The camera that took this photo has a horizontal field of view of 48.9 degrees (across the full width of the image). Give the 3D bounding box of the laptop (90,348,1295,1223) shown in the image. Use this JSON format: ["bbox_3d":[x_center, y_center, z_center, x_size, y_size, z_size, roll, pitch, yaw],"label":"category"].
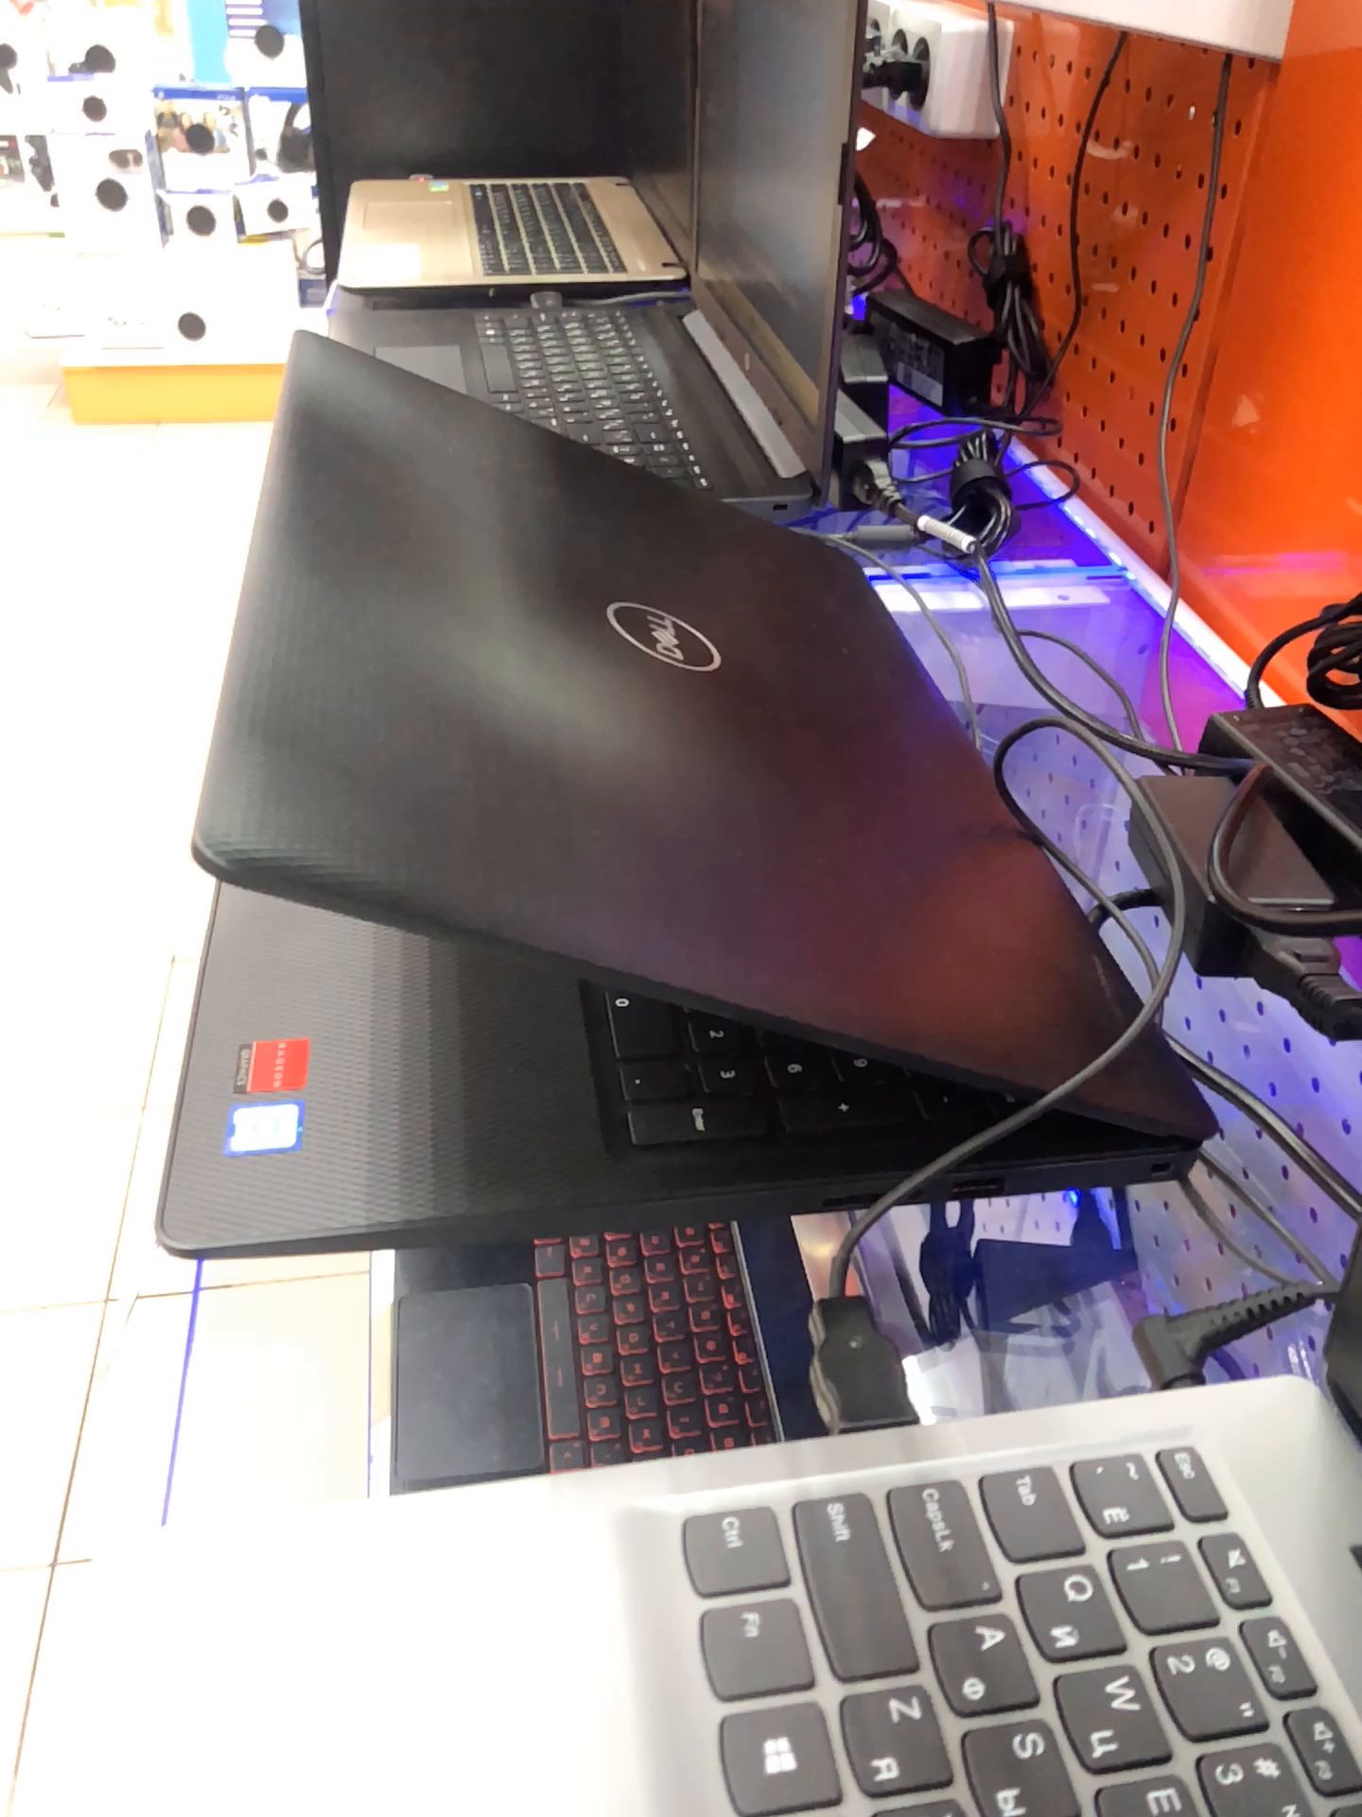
[{"bbox_3d":[-0.022,-0.080,0.474,0.238,0.100,0.373,-3,34,-8],"label":"laptop"}]
